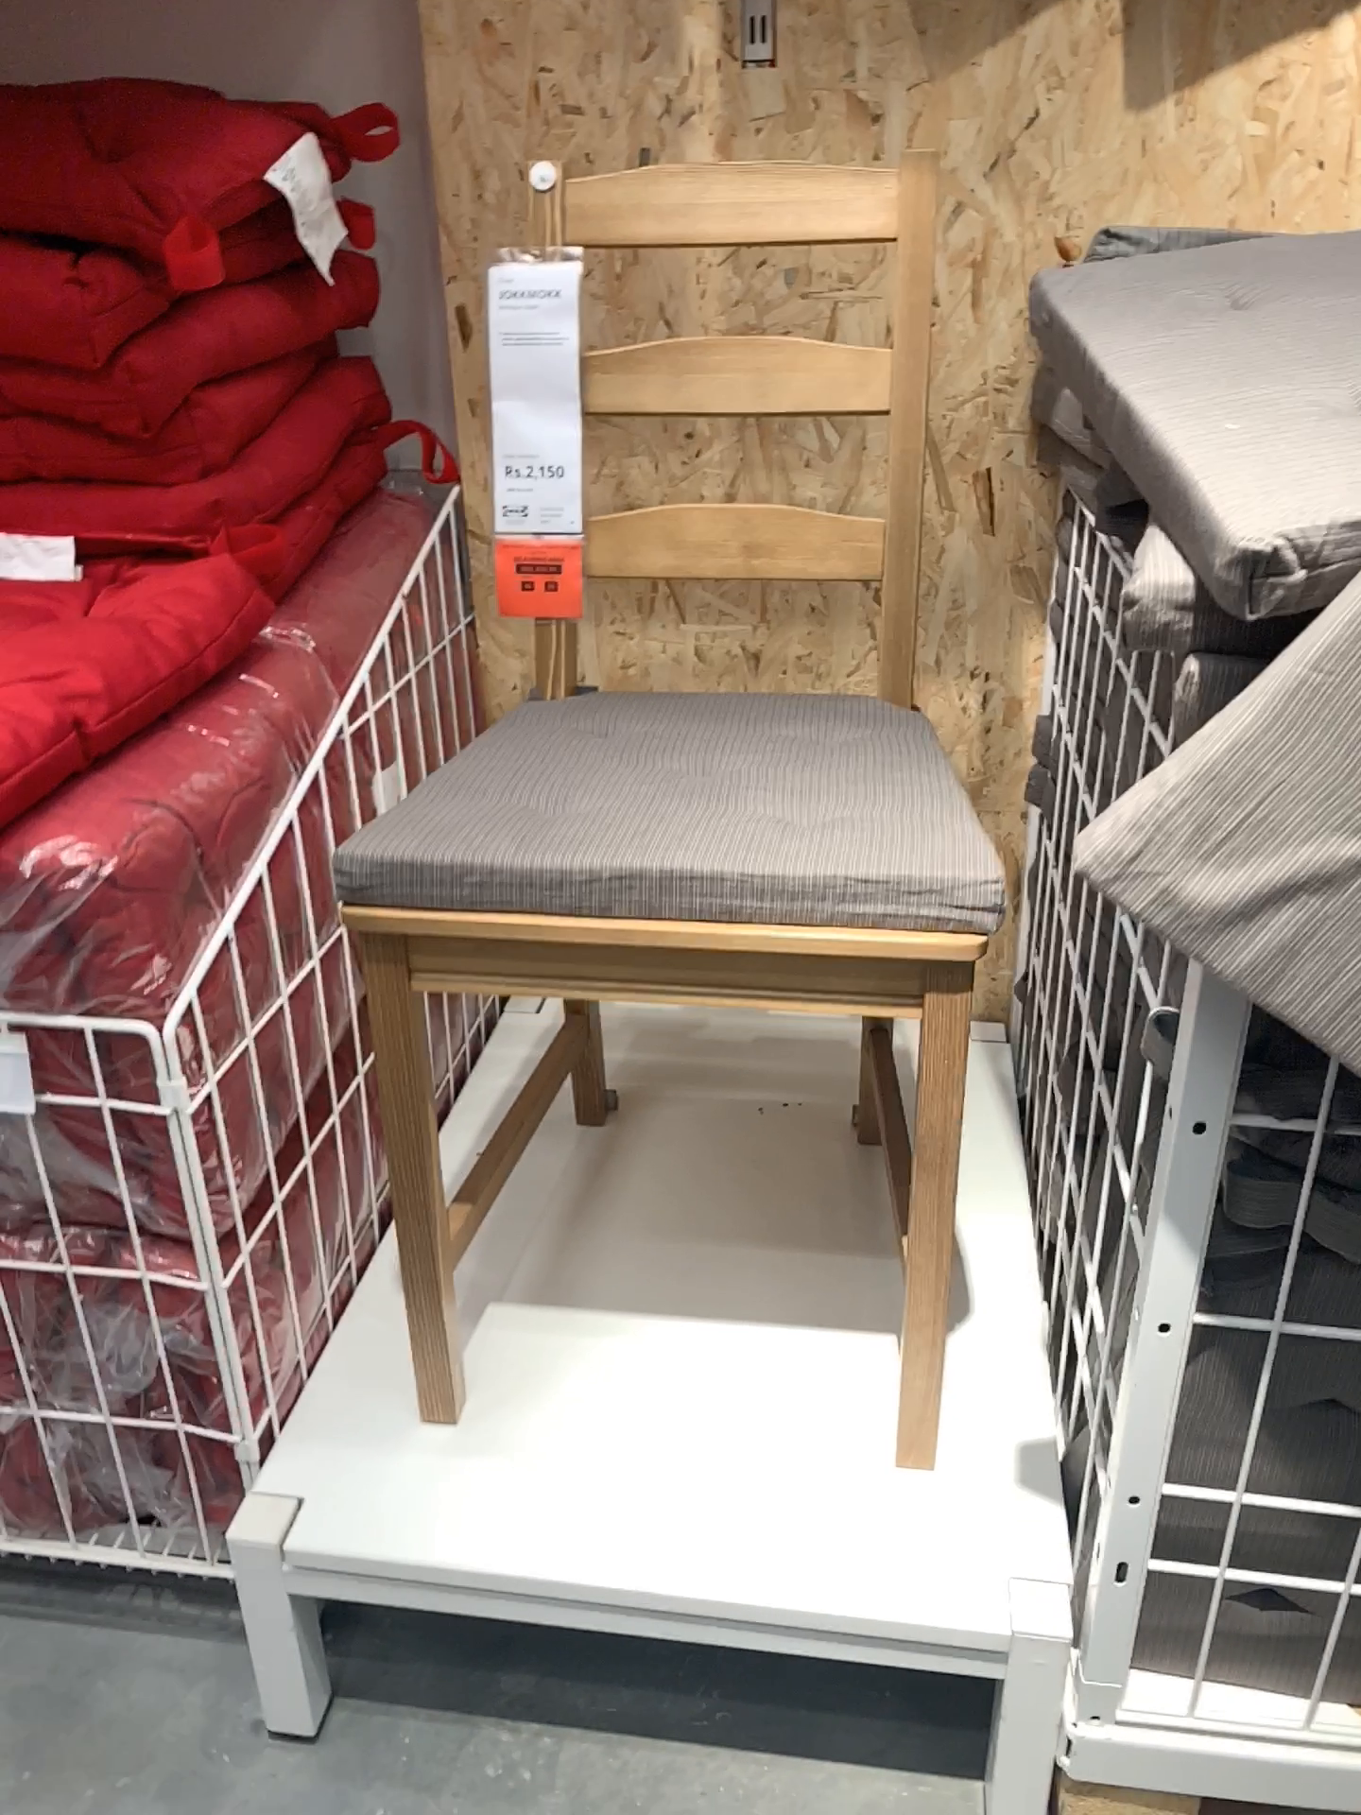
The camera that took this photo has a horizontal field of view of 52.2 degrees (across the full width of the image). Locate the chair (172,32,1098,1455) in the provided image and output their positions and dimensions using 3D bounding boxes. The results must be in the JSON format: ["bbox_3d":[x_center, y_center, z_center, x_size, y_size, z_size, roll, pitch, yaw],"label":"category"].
[{"bbox_3d":[0.015,-0.117,1.060,0.440,0.866,0.502,2,26,8],"label":"chair"}]
